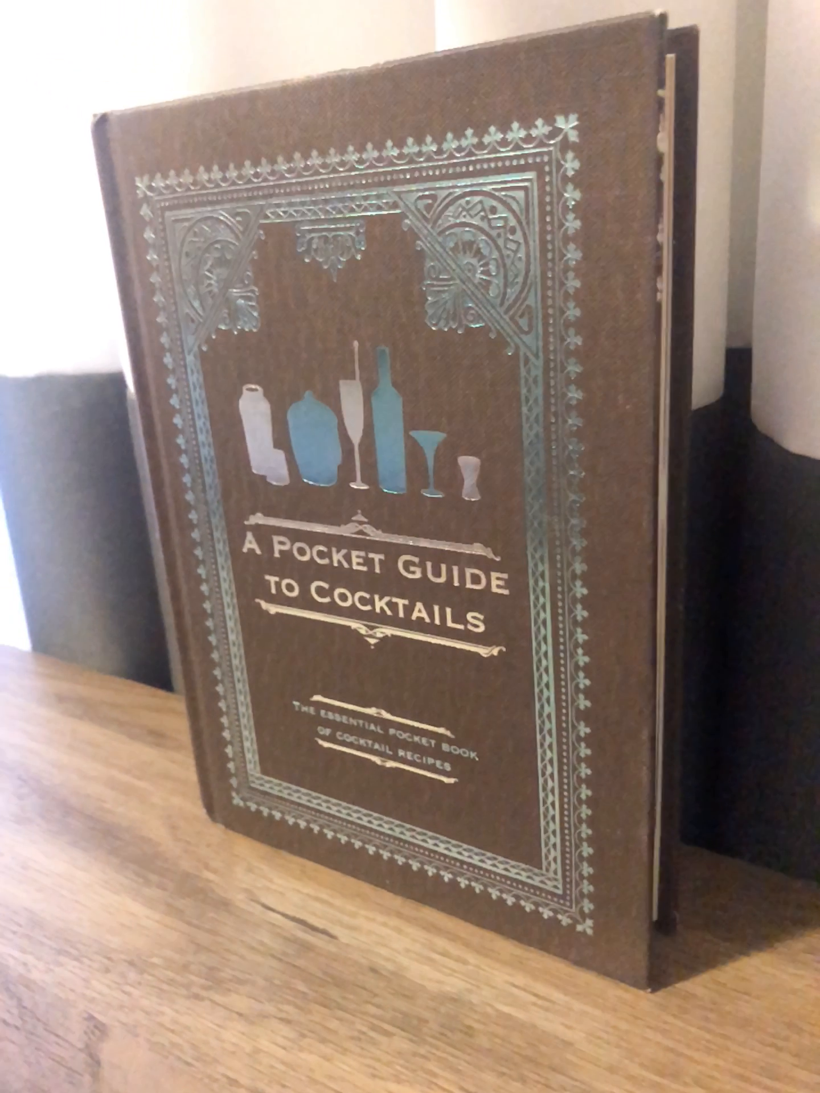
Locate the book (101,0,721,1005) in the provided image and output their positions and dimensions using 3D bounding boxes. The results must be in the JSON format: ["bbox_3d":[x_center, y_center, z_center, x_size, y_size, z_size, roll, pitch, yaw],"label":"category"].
[{"bbox_3d":[-0.001,-0.003,0.220,0.136,0.200,0.022,8,23,32],"label":"book"}]
